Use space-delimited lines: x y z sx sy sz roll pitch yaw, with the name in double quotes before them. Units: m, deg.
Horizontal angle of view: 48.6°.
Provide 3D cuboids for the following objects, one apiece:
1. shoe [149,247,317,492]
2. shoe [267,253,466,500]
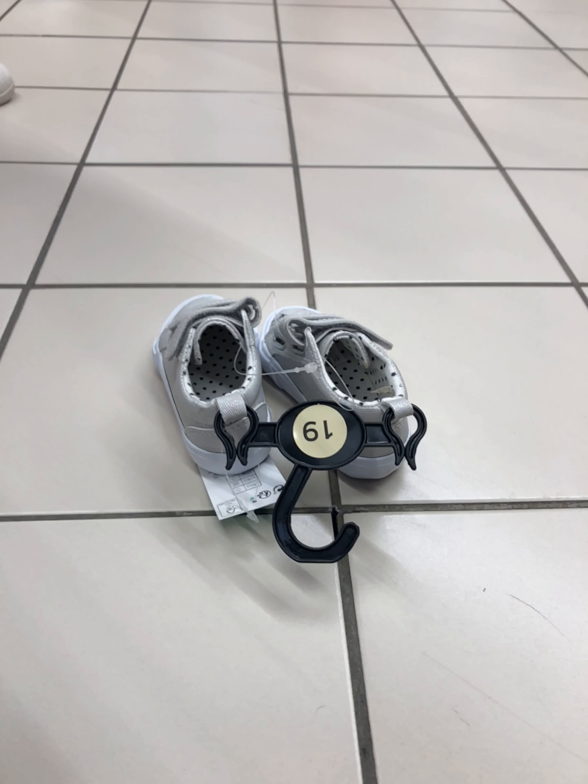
"shoe" -0.039 -0.020 0.367 0.064 0.053 0.138 -9 44 -12
"shoe" 0.032 -0.016 0.365 0.059 0.053 0.138 -11 44 -14
